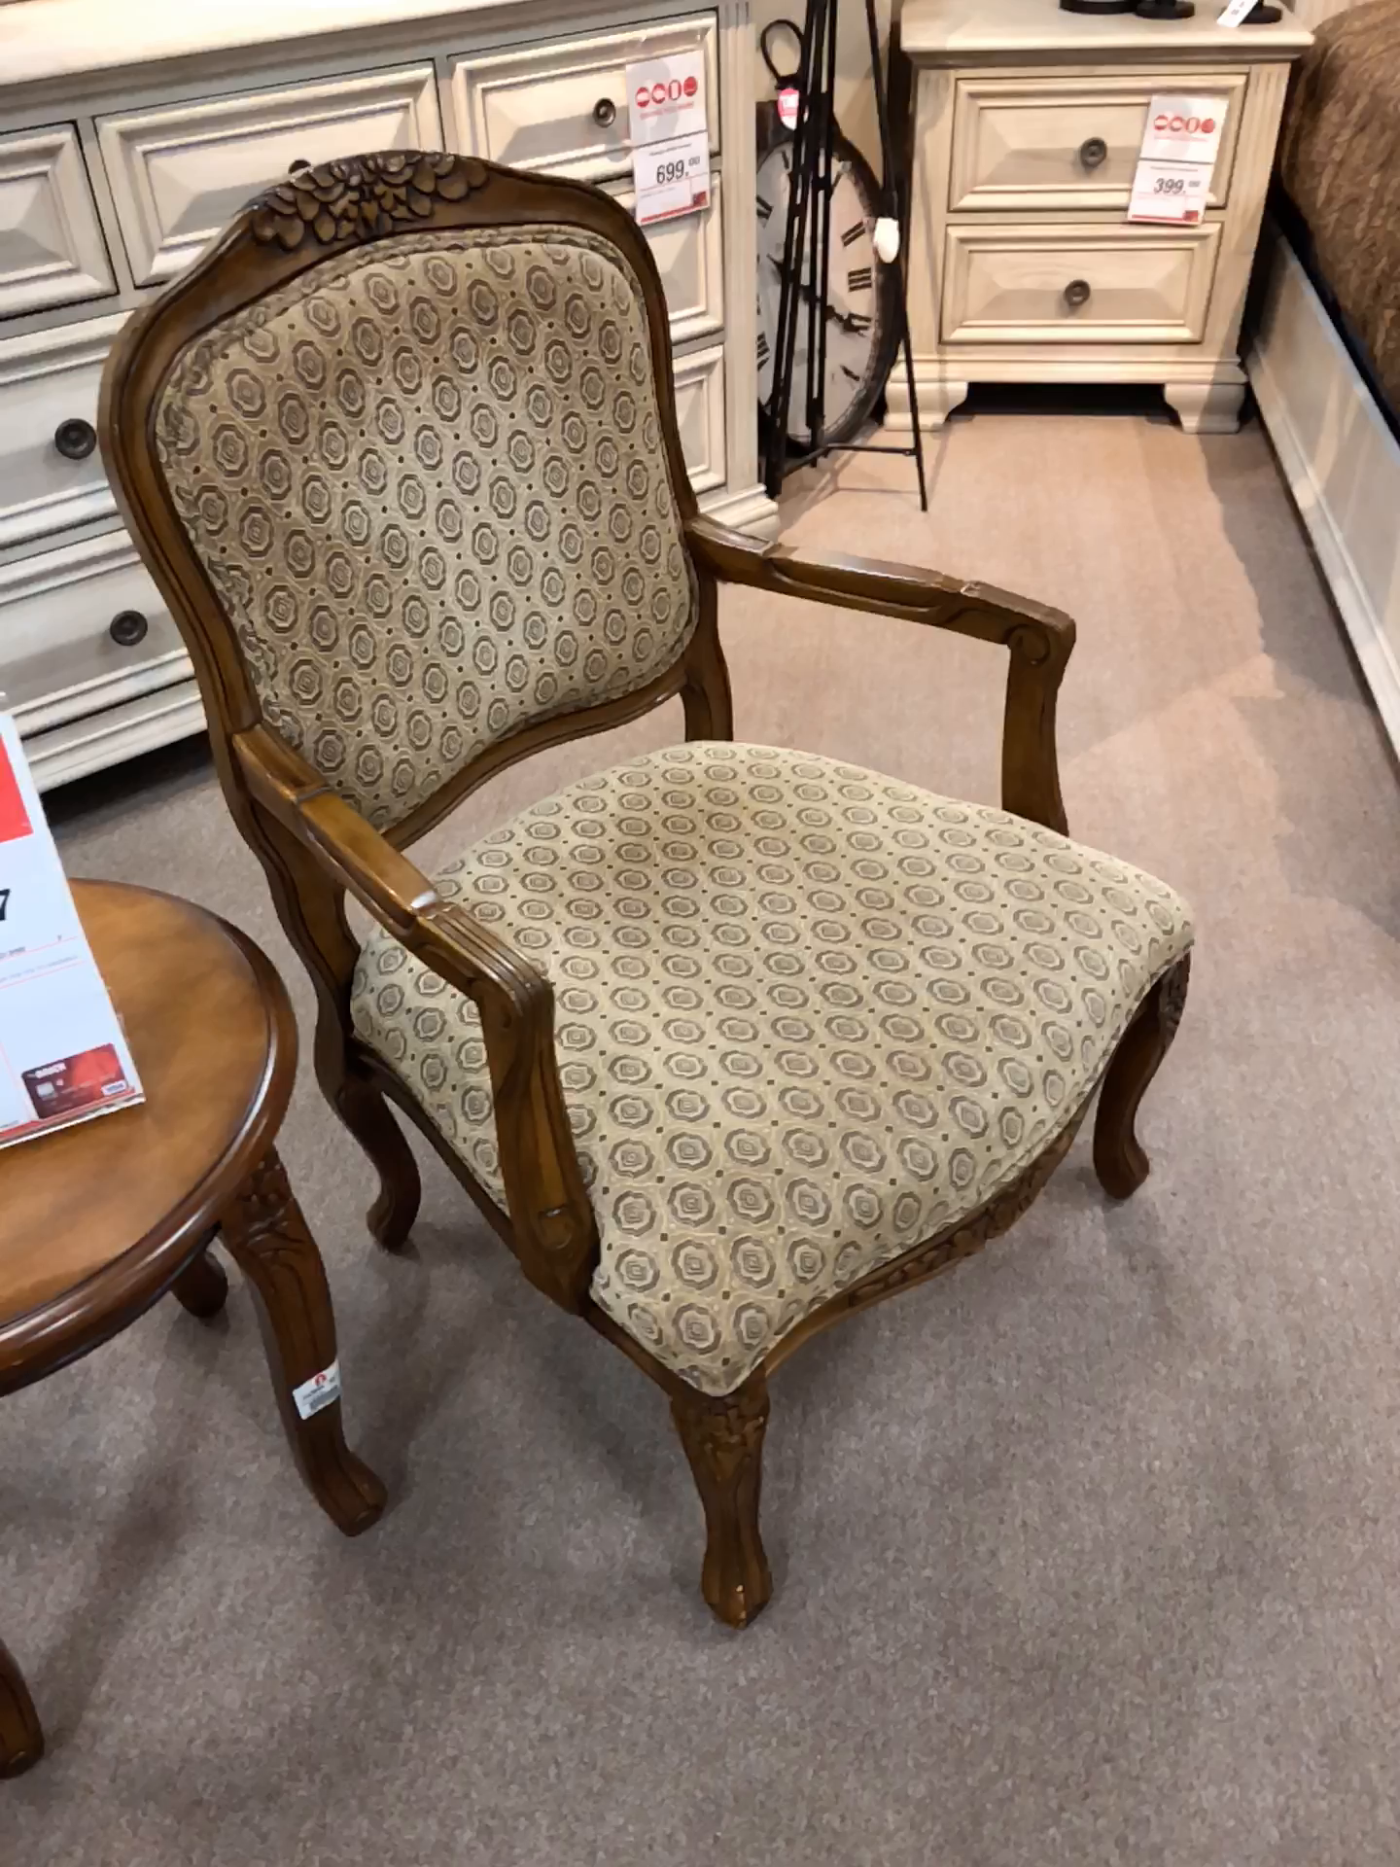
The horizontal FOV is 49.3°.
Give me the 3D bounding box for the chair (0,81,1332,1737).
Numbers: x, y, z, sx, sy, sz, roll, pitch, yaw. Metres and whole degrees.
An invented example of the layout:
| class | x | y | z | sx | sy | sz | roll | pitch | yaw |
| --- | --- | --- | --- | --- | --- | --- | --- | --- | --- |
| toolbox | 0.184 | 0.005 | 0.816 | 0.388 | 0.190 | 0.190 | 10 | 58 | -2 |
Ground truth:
| class | x | y | z | sx | sy | sz | roll | pitch | yaw |
| --- | --- | --- | --- | --- | --- | --- | --- | --- | --- |
| chair | -0.066 | -0.062 | 1.373 | 0.703 | 1.062 | 0.782 | 30 | 49 | 33 |
